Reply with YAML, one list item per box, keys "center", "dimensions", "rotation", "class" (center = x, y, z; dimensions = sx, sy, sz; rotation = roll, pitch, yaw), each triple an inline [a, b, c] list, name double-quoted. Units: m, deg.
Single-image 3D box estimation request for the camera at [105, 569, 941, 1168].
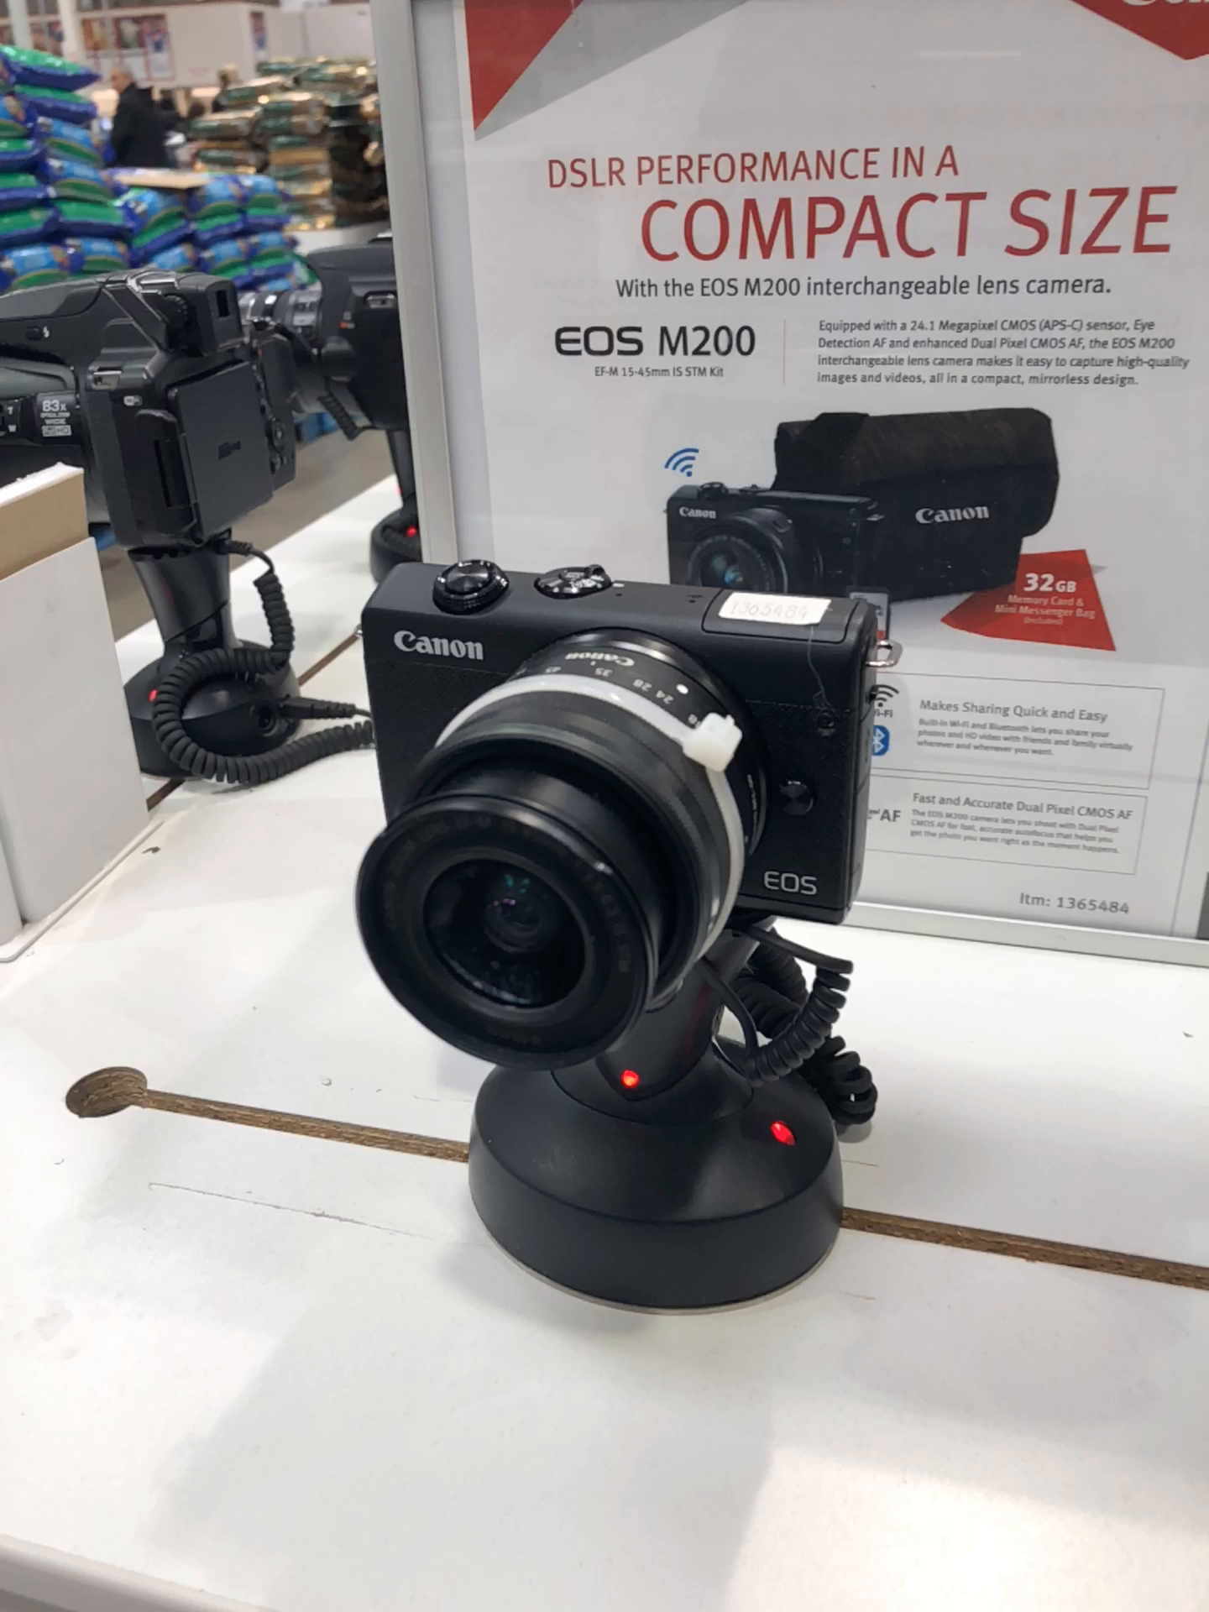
- center: [-0.005, -0.001, 0.262]
  dimensions: [0.120, 0.050, 0.120]
  rotation: [7, 28, 18]
  class: "camera"
